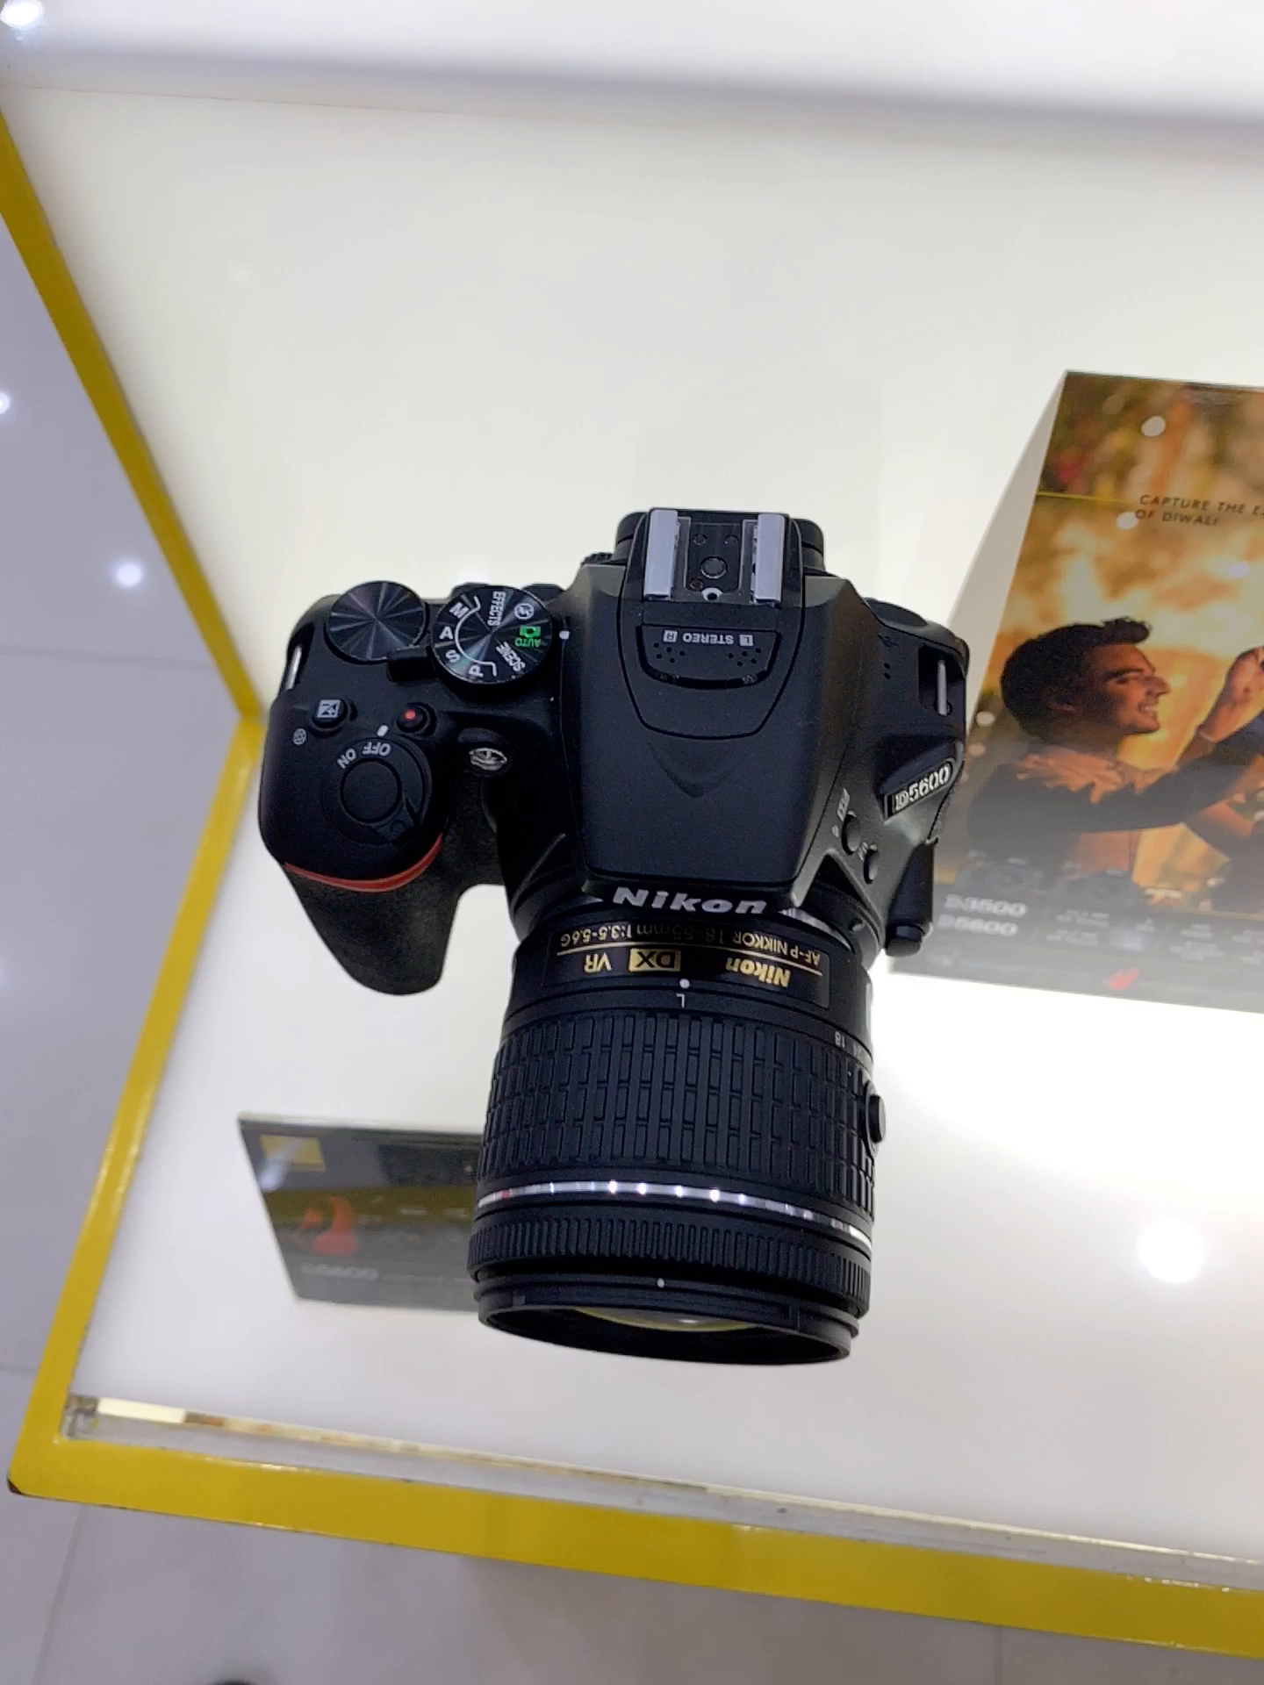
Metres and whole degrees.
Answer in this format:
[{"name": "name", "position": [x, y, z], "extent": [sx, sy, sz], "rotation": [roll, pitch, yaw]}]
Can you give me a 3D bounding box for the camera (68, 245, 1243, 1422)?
[{"name": "camera", "position": [0.007, -0.002, 0.212], "extent": [0.120, 0.090, 0.160], "rotation": [3, 61, 3]}]
